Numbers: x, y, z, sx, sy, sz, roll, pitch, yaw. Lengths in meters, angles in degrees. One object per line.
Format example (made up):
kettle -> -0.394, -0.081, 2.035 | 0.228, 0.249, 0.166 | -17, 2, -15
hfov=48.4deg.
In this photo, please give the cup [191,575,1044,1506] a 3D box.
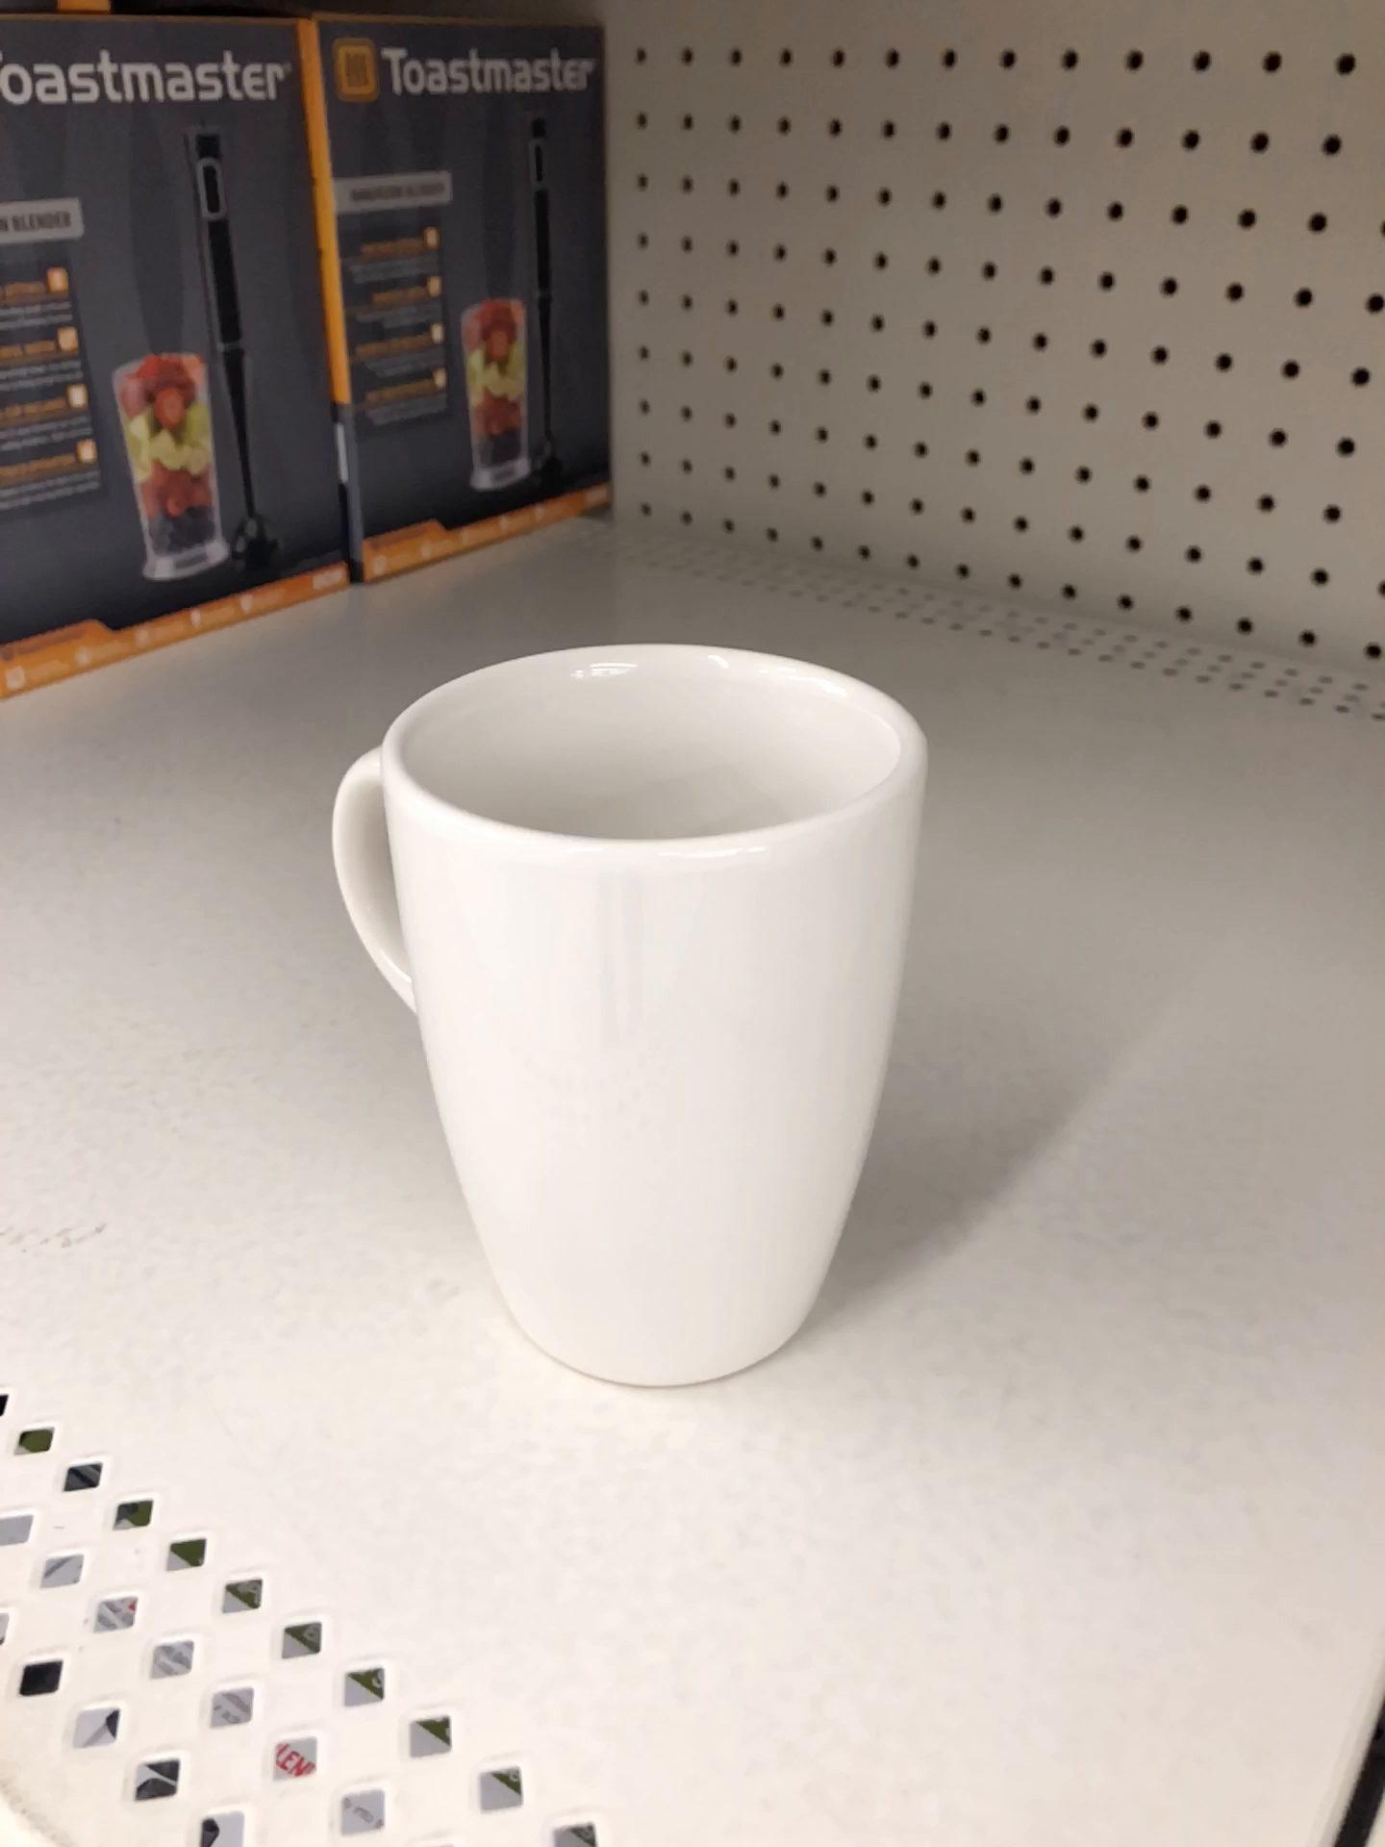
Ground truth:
cup -> -0.017, 0.010, 0.283 | 0.081, 0.105, 0.126 | -24, 37, -36
